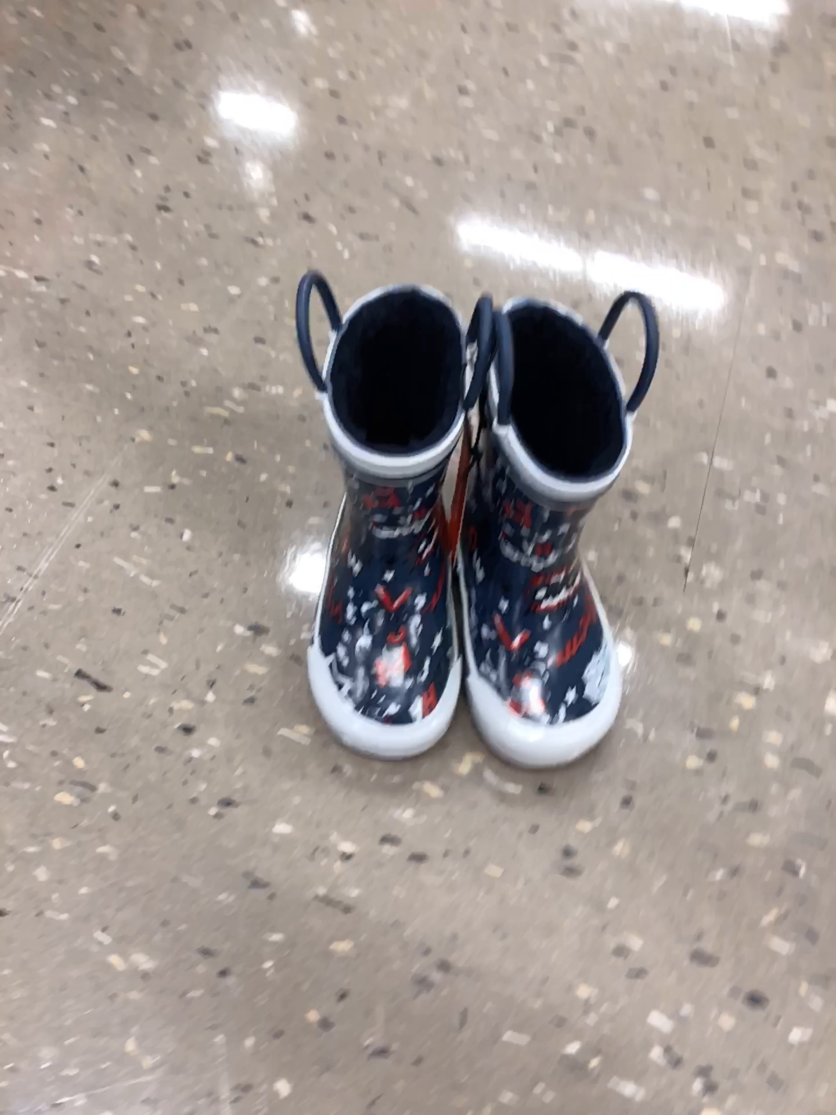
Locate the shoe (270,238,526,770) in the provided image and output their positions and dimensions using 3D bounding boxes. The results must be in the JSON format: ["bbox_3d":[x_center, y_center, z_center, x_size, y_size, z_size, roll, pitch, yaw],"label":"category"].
[{"bbox_3d":[-0.008,-0.016,0.400,0.080,0.160,0.160,4,57,-2],"label":"shoe"}]

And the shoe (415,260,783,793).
[{"bbox_3d":[0.055,-0.006,0.386,0.080,0.160,0.150,-6,58,-8],"label":"shoe"}]
